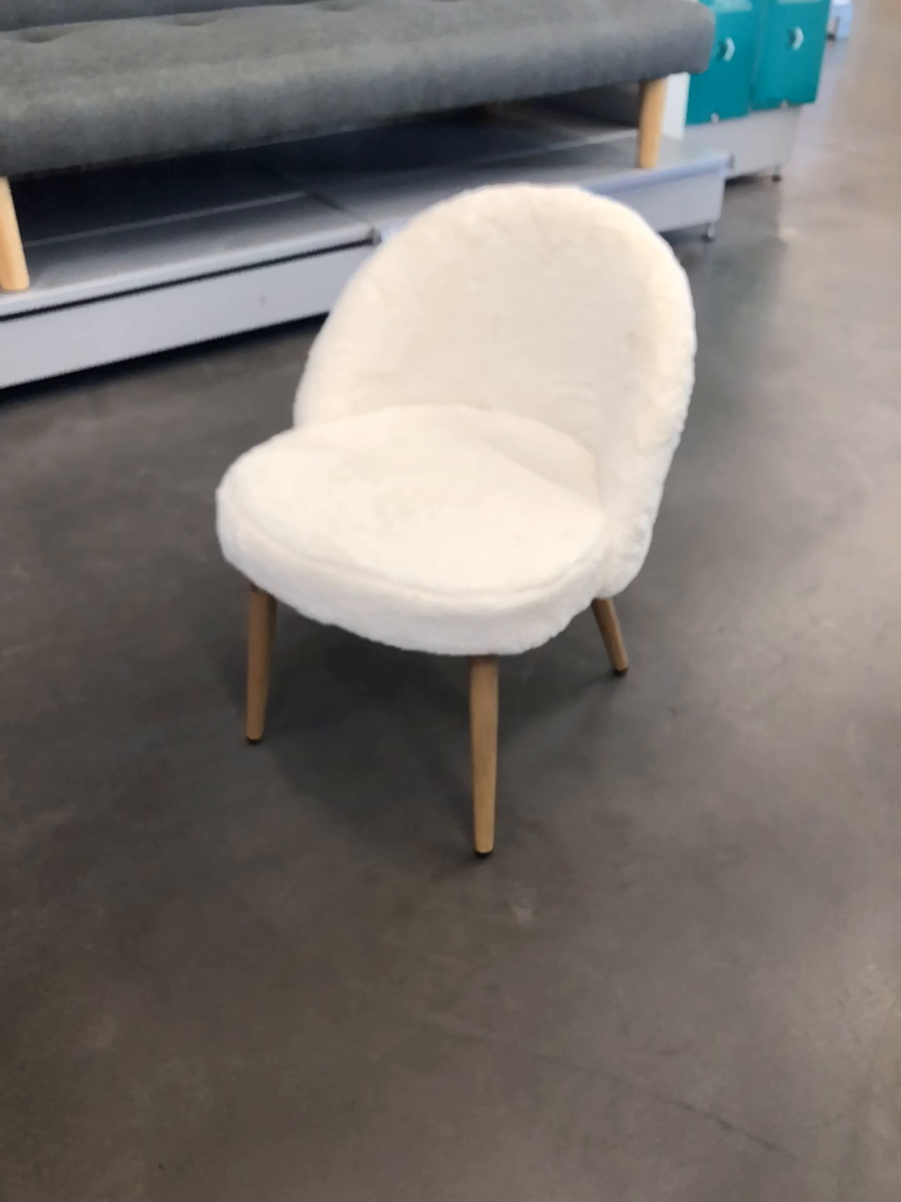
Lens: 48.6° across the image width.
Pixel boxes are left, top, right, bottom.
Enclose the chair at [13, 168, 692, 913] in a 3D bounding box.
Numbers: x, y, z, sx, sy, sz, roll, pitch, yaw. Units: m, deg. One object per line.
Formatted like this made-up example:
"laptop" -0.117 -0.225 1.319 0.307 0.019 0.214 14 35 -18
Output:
"chair" -0.057 -0.099 1.054 0.410 0.537 0.473 19 41 26
